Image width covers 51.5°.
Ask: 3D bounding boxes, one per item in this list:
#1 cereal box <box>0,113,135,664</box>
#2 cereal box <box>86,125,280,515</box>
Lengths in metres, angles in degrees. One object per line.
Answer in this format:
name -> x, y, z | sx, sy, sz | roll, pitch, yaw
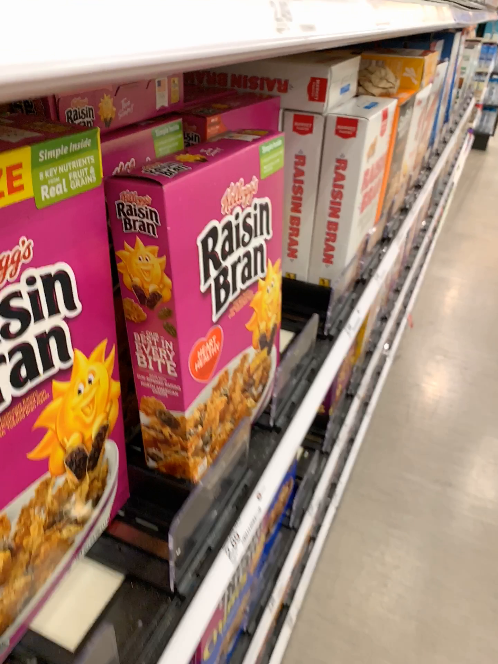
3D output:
cereal box -> -0.166, 0.054, 0.296 | 0.060, 0.298, 0.221 | 14, 34, 19
cereal box -> -0.034, -0.017, 0.456 | 0.050, 0.278, 0.201 | 12, 33, 21
